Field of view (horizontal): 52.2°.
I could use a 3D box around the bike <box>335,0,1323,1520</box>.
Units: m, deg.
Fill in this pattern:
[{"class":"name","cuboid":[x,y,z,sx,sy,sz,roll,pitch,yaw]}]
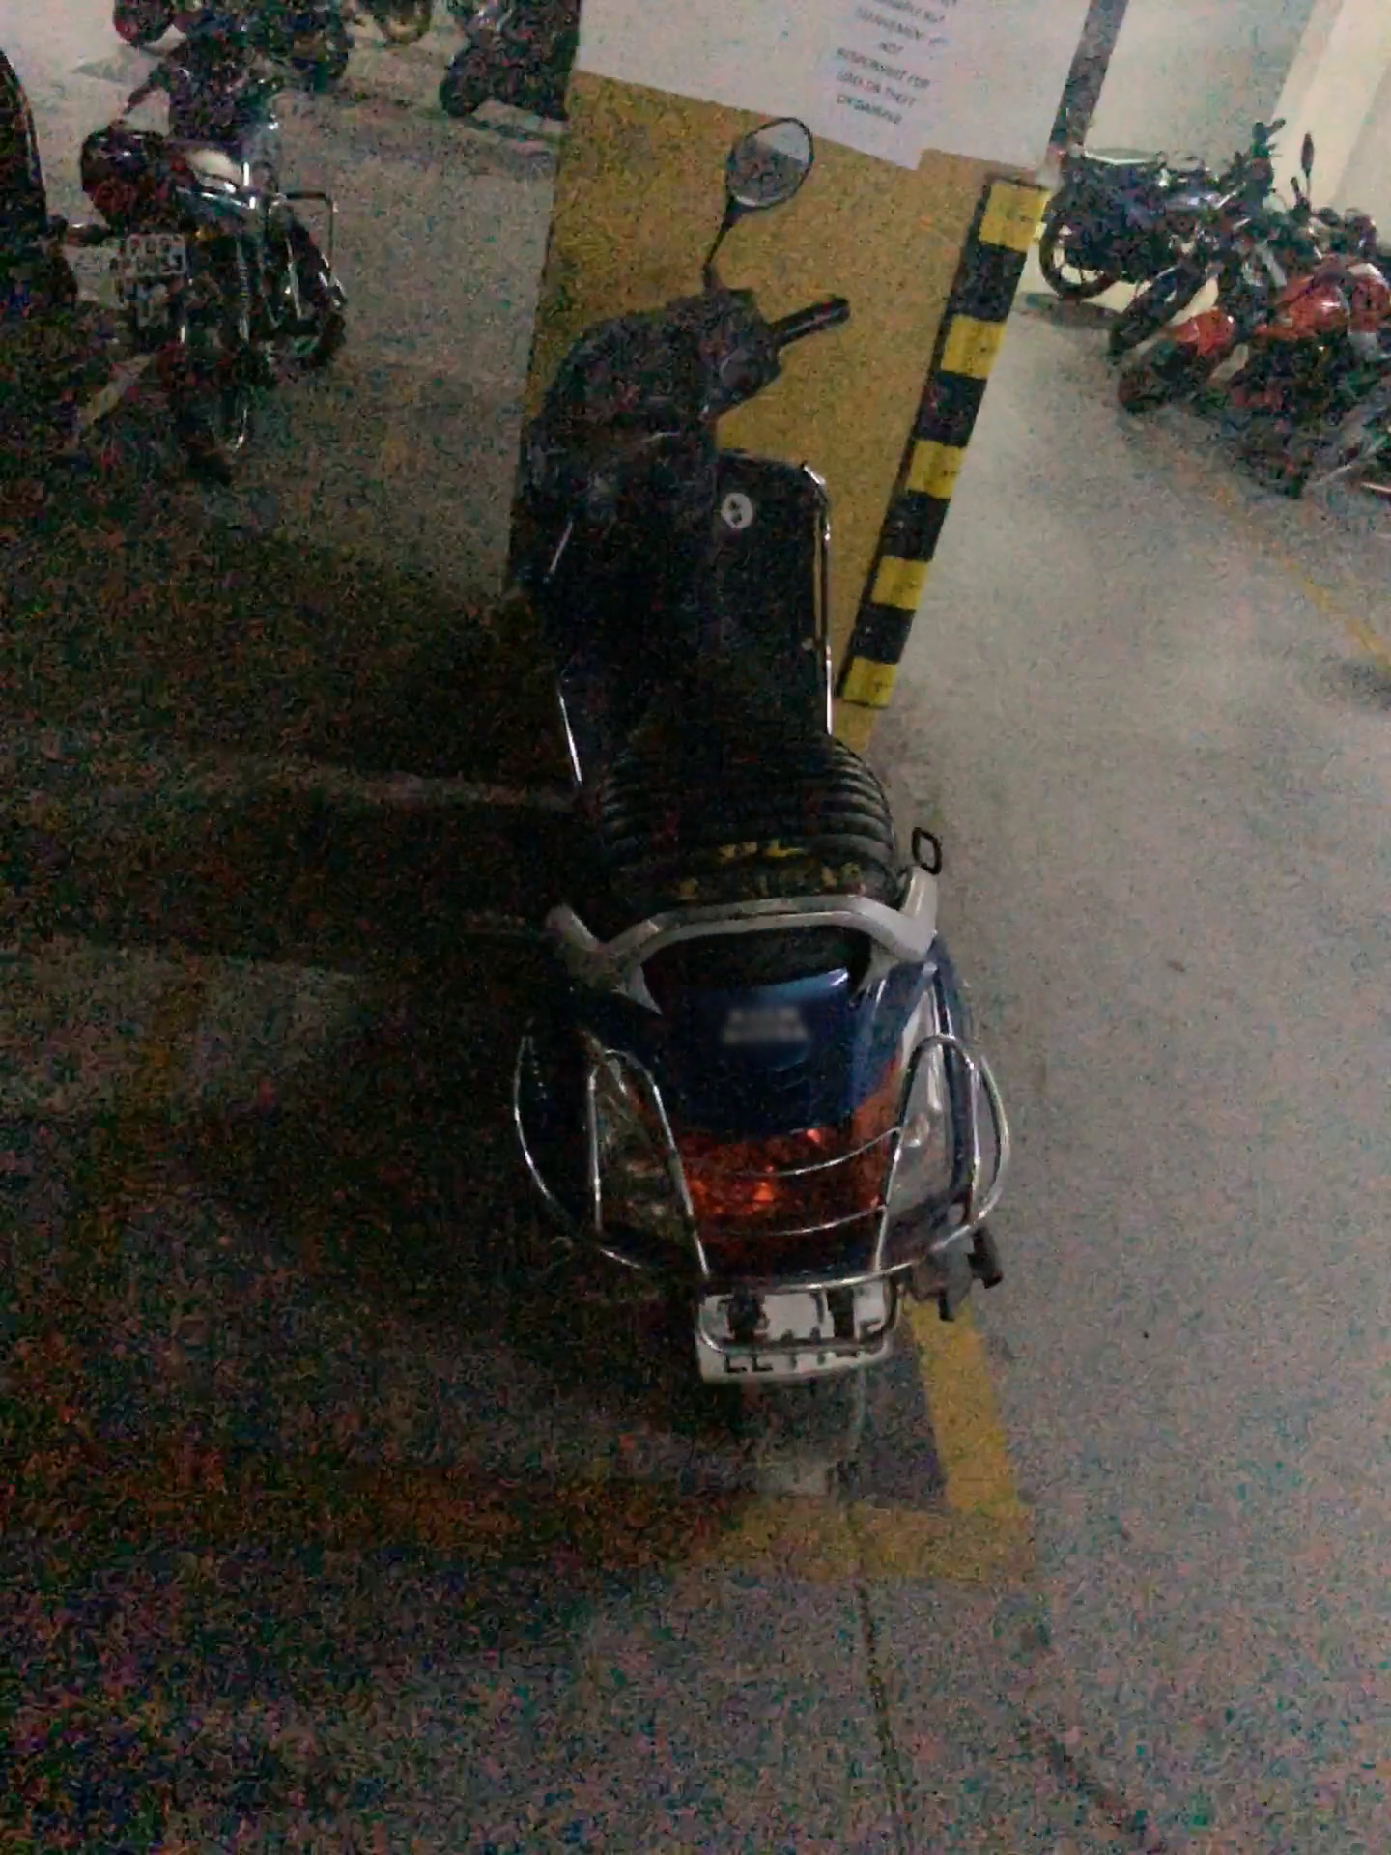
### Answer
[{"class":"bike","cuboid":[-0.054,-0.250,1.730,0.631,1.063,1.275,1,42,-18]}]
